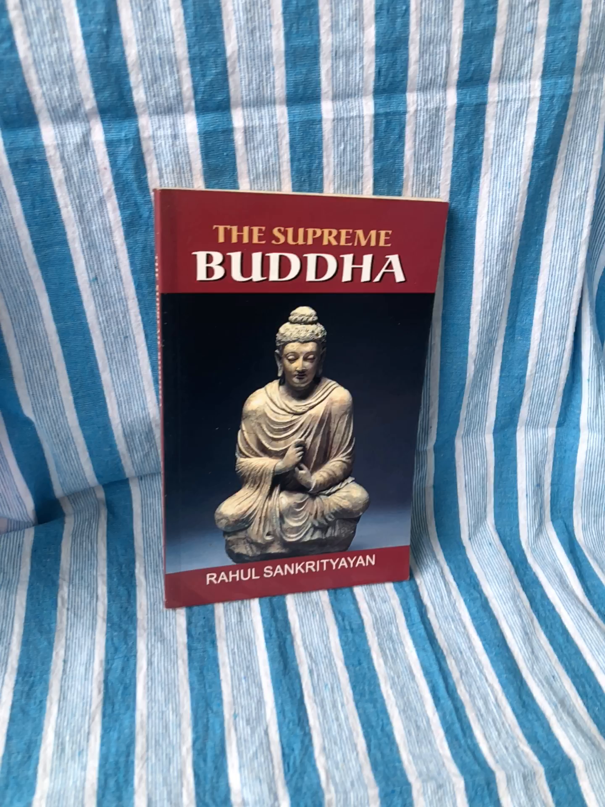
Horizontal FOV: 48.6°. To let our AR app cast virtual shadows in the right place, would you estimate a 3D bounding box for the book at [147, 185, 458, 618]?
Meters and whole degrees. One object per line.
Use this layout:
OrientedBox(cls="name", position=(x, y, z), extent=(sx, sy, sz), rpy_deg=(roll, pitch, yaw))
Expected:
OrientedBox(cls="book", position=(-0.002, 0.003, 0.354), extent=(0.150, 0.219, 0.020), rpy_deg=(-2, 17, -16))
